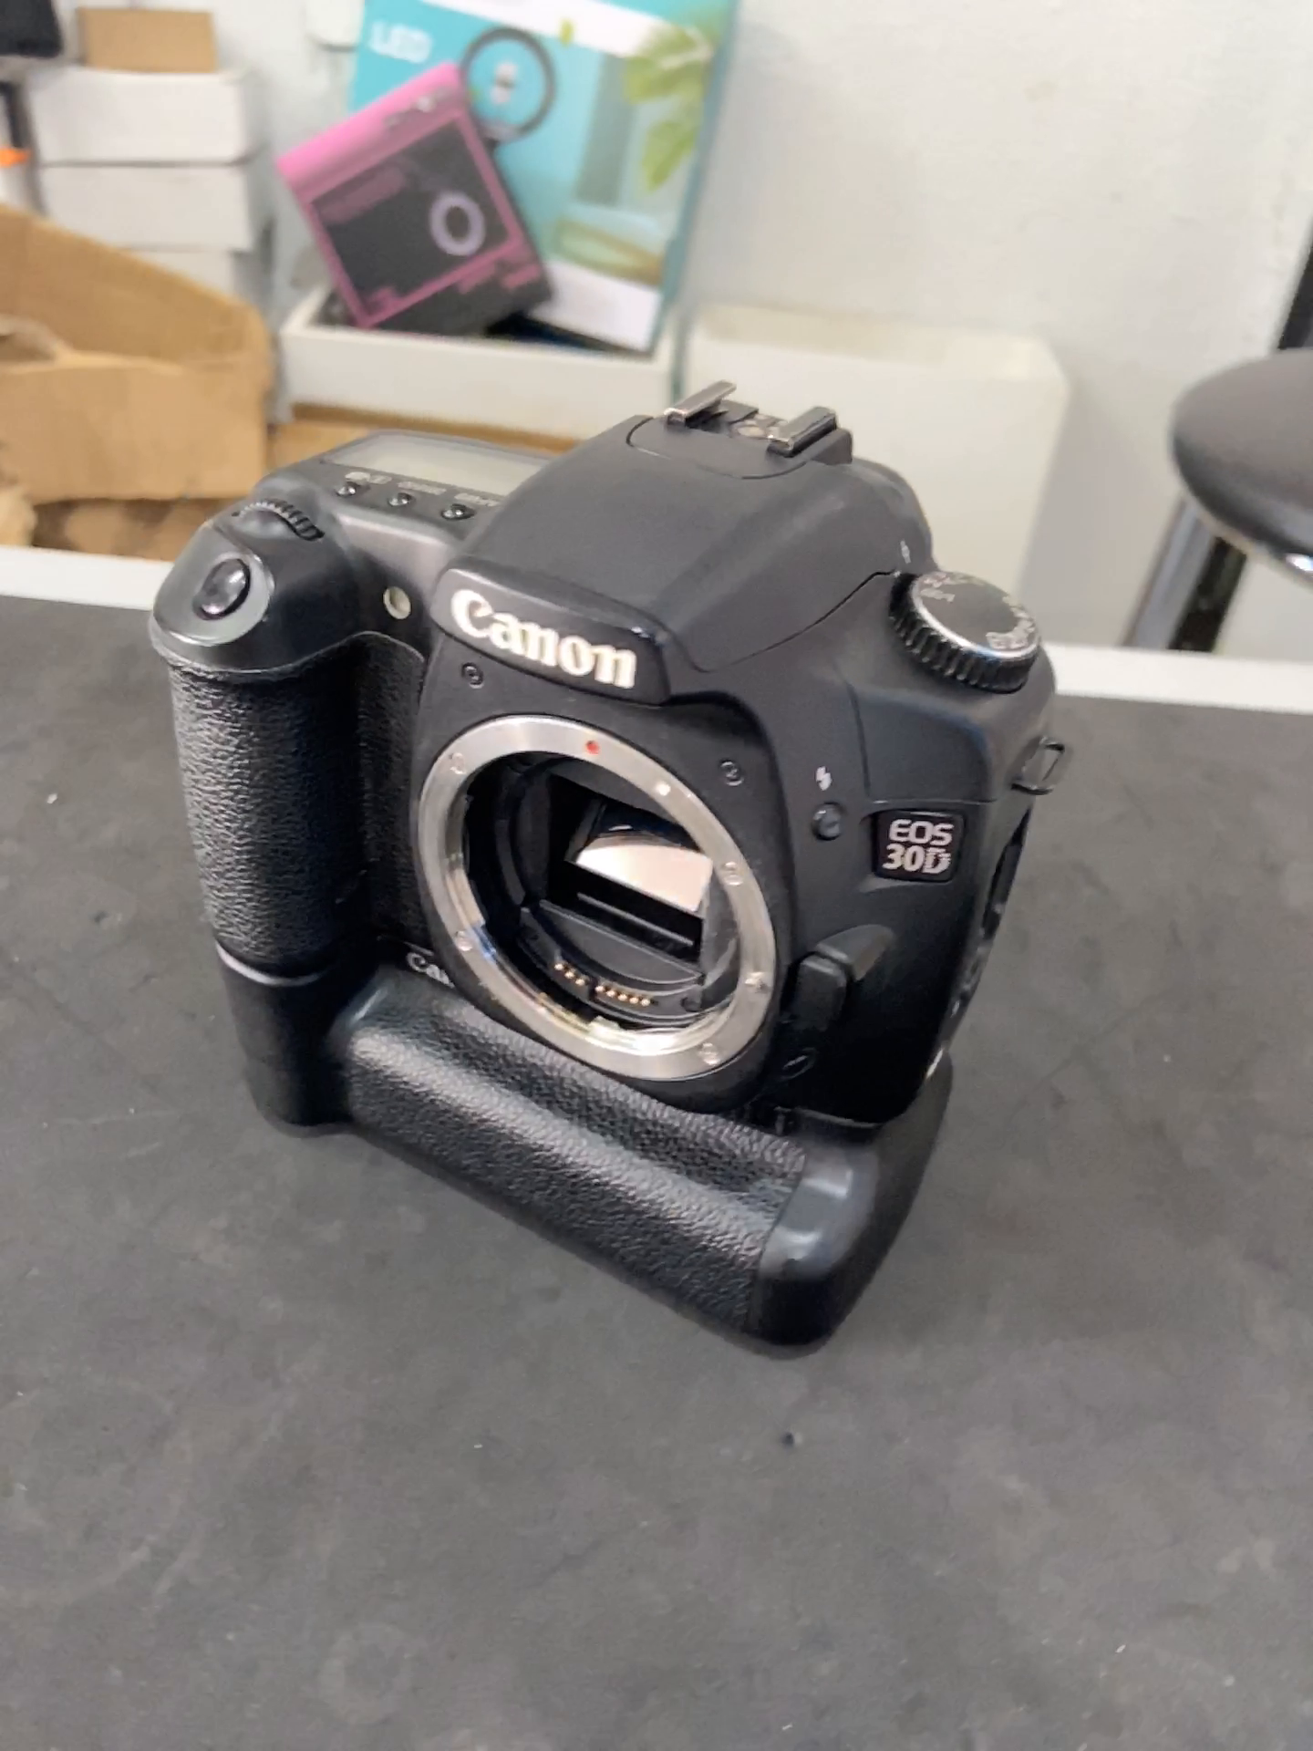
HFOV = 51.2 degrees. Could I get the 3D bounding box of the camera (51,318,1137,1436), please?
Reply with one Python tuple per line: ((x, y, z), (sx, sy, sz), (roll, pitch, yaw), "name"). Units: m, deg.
((-0.012, -0.005, 0.244), (0.140, 0.139, 0.080), (22, 40, 22), "camera")
